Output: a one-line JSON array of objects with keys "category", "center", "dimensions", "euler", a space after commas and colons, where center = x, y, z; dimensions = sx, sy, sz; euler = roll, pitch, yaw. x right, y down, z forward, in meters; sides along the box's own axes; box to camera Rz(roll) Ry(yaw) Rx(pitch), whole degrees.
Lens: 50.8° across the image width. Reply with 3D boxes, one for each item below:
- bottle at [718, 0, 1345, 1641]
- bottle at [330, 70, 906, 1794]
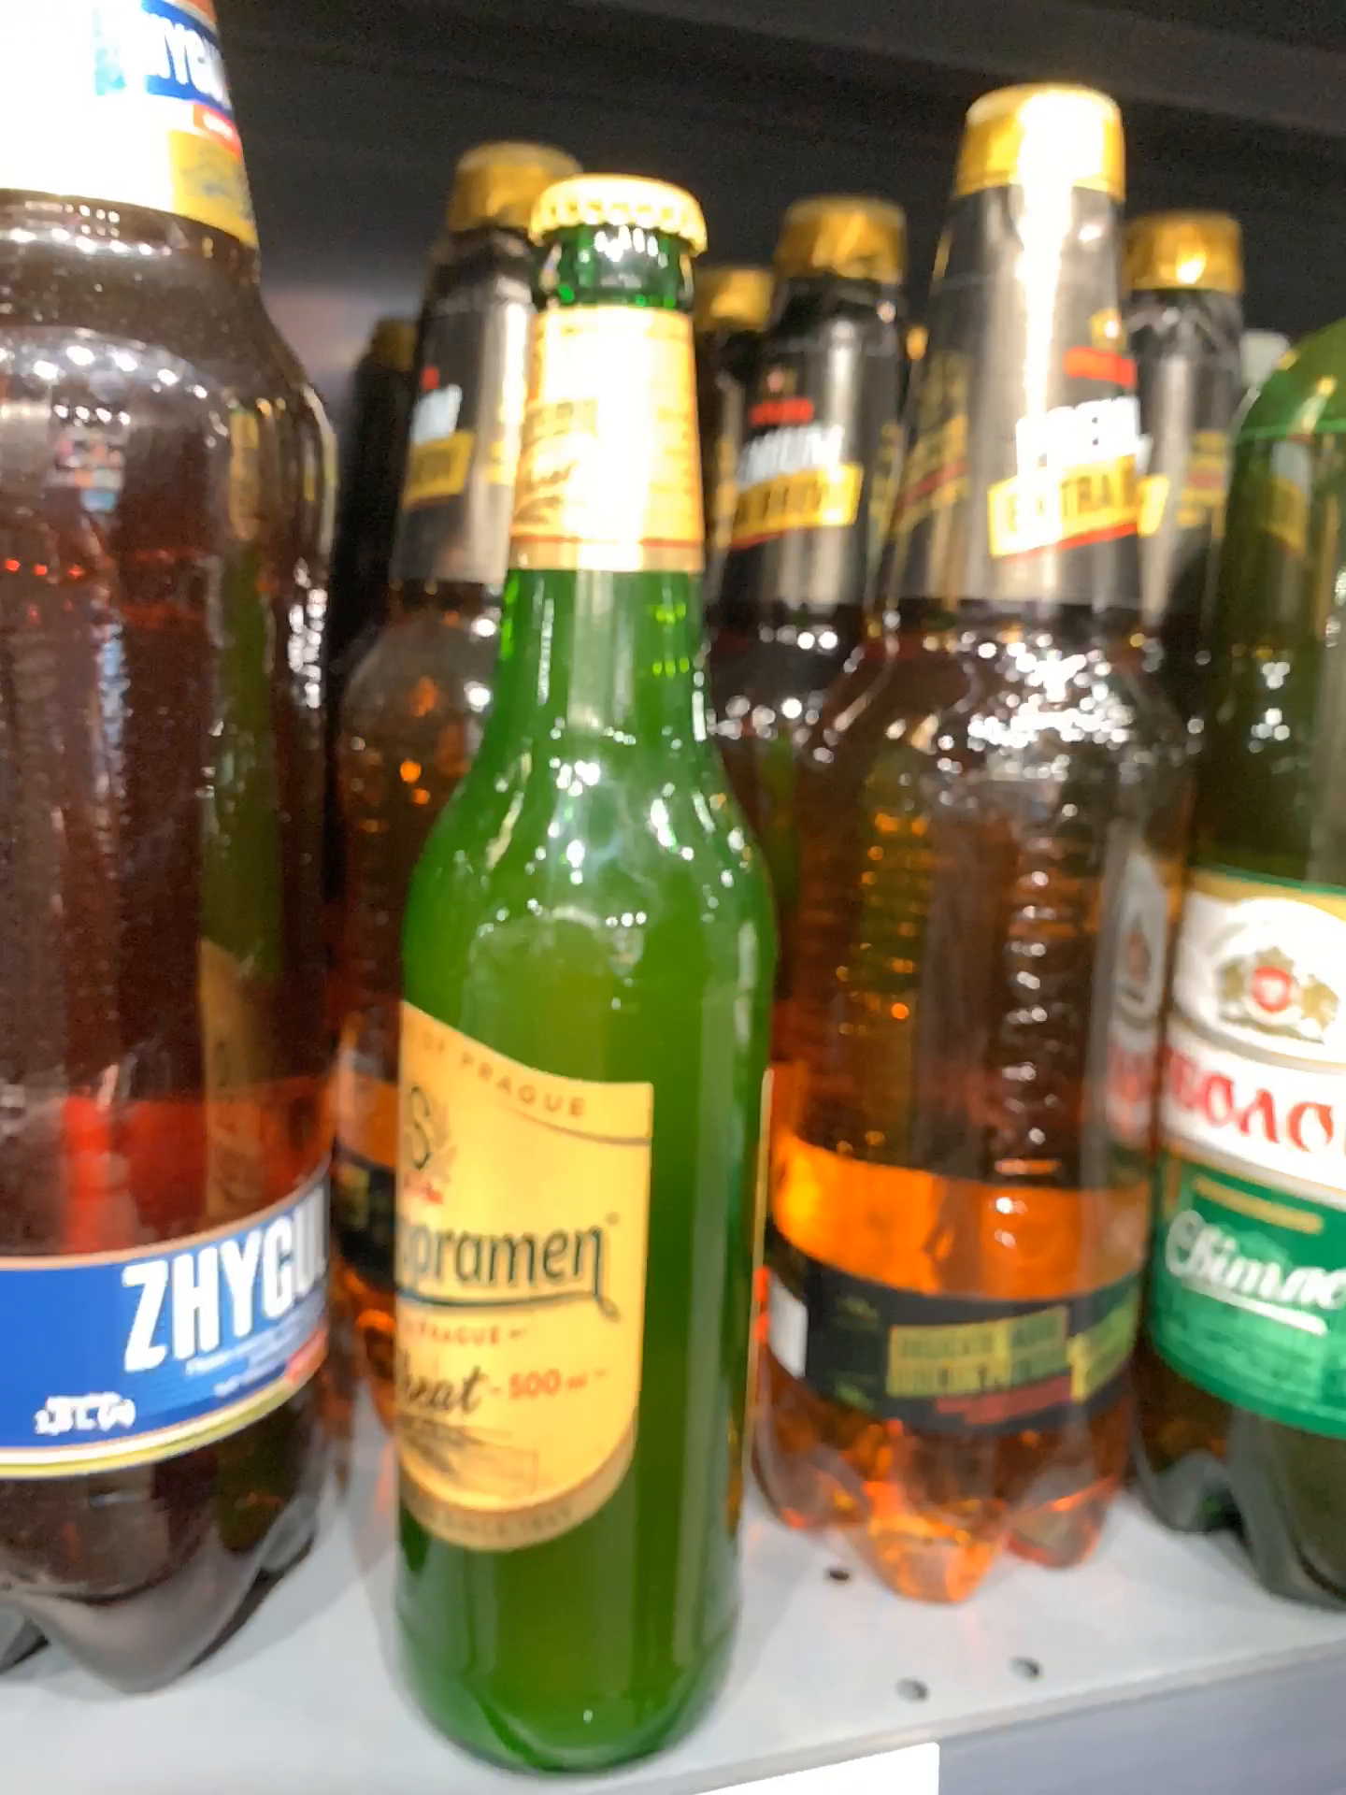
[{"category": "bottle", "center": [0.065, -0.009, 0.276], "dimensions": [0.075, 0.270, 0.066], "euler": [-3, 12, -30]}, {"category": "bottle", "center": [-0.012, 0.013, 0.244], "dimensions": [0.062, 0.255, 0.068], "euler": [2, 10, 0]}]
